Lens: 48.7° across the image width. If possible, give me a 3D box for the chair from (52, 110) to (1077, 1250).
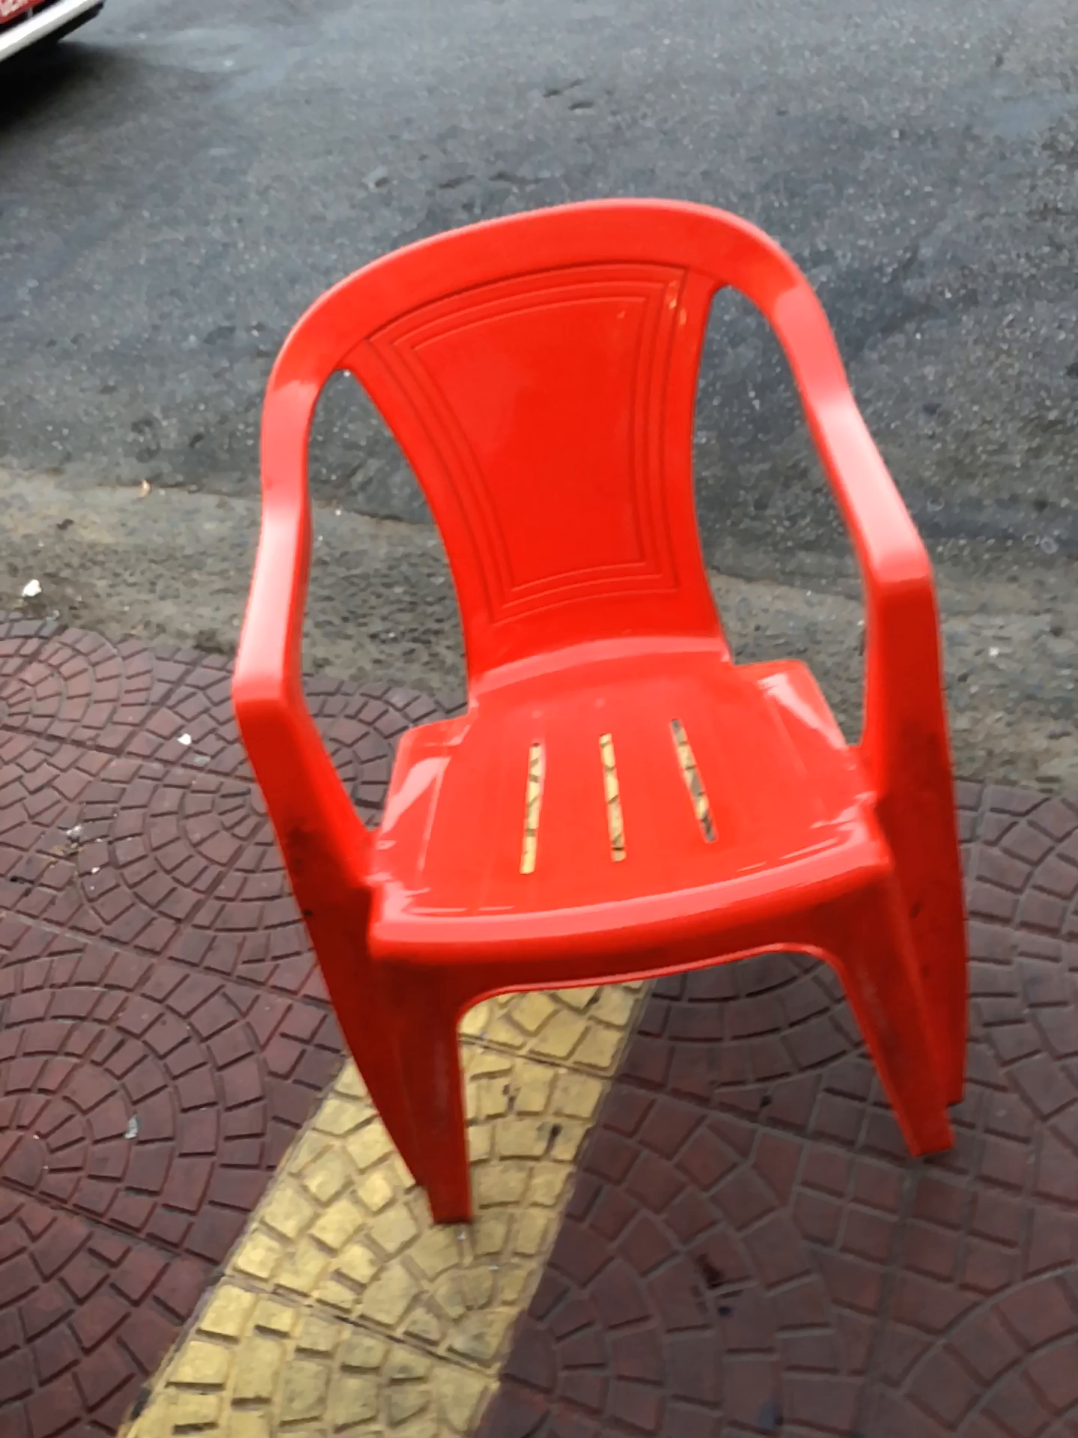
[{"bbox_3d":[0.067,0.005,1.077,0.570,0.795,0.544,-9,43,3],"label":"chair"}]
